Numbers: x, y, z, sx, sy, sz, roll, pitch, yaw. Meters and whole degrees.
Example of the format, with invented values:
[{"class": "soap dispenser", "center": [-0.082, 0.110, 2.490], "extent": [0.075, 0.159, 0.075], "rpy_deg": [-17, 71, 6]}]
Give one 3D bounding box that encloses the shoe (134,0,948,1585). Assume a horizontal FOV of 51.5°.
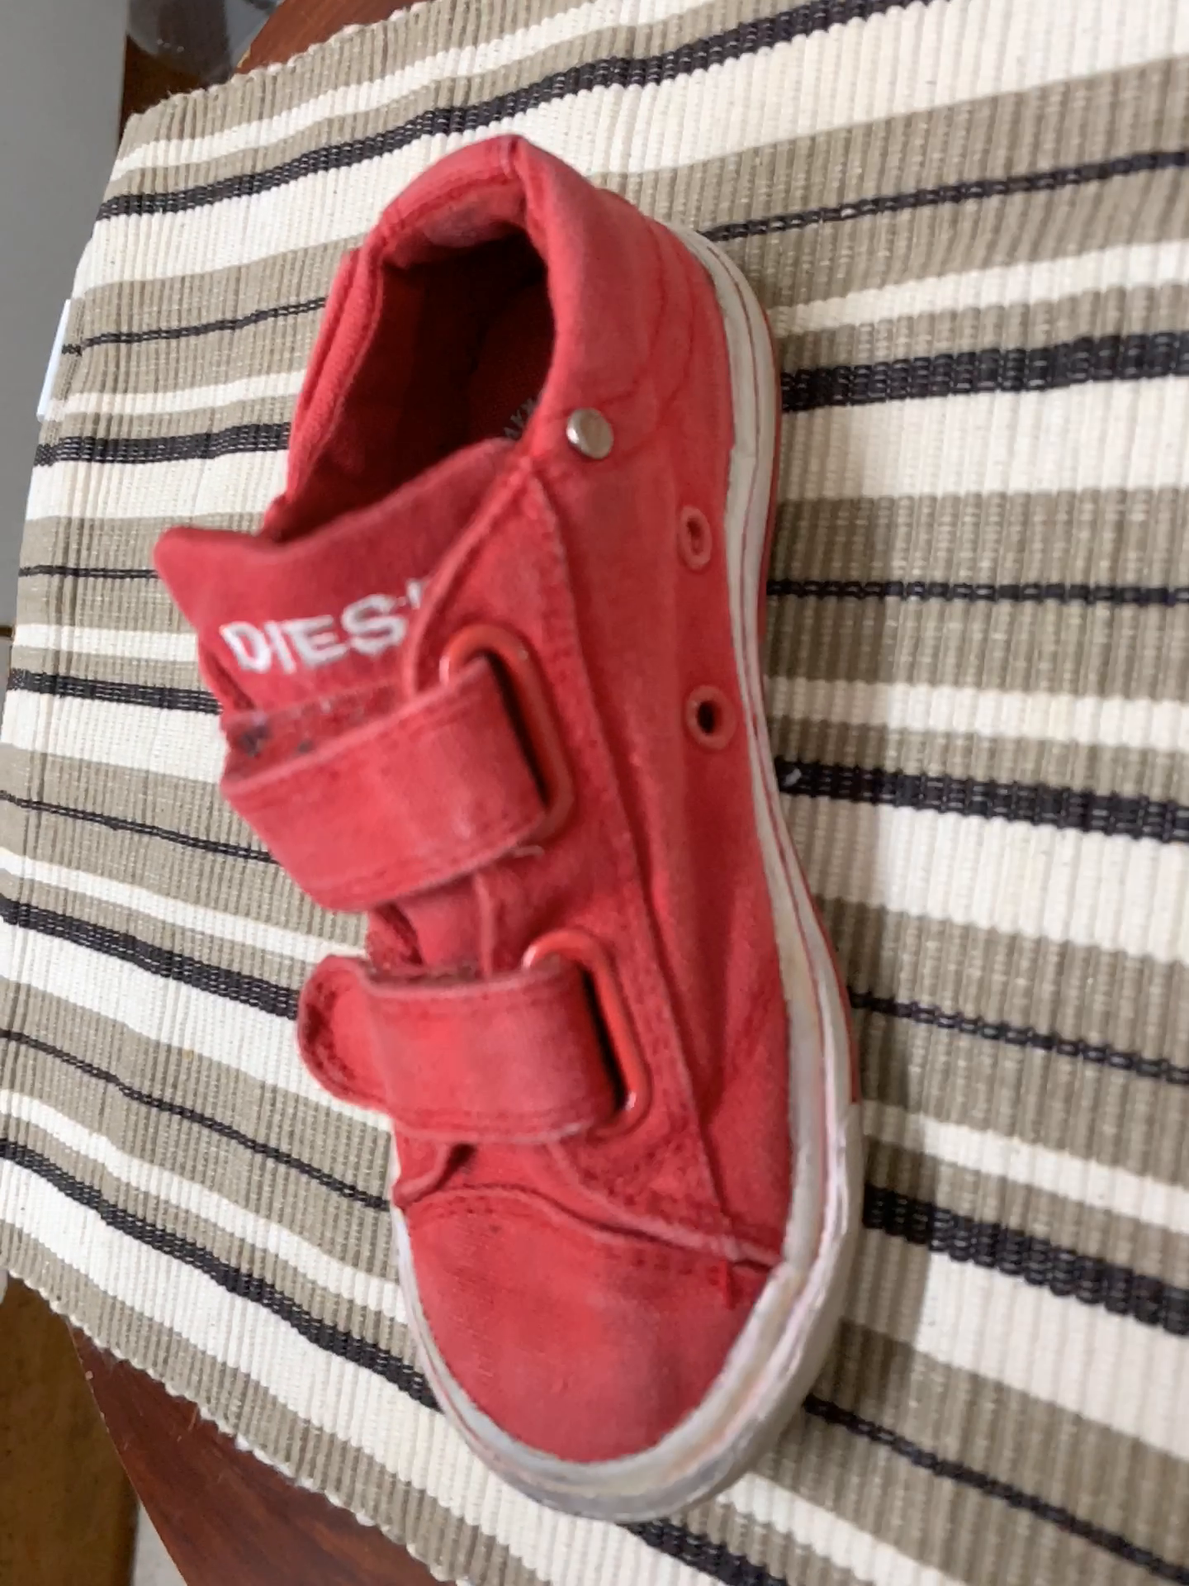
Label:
[{"class": "shoe", "center": [-0.007, -0.005, 0.169], "extent": [0.080, 0.070, 0.170], "rpy_deg": [-5, 83, 37]}]
